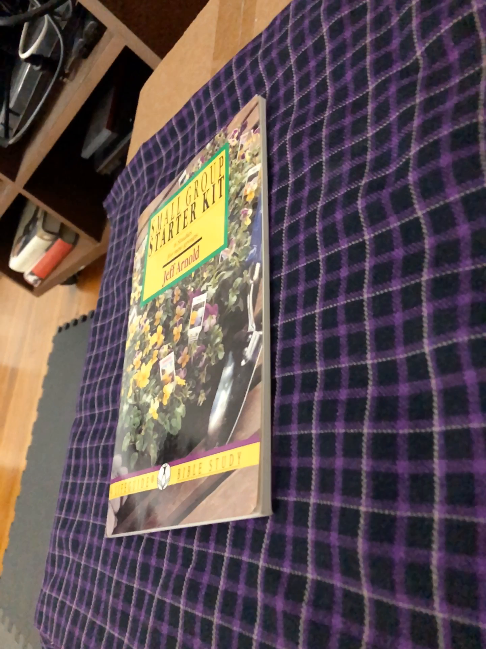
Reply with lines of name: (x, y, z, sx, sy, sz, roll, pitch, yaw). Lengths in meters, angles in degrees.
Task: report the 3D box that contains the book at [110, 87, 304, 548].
book: (-0.025, 0.001, 0.296, 0.150, 0.010, 0.220, -30, 51, 47)
